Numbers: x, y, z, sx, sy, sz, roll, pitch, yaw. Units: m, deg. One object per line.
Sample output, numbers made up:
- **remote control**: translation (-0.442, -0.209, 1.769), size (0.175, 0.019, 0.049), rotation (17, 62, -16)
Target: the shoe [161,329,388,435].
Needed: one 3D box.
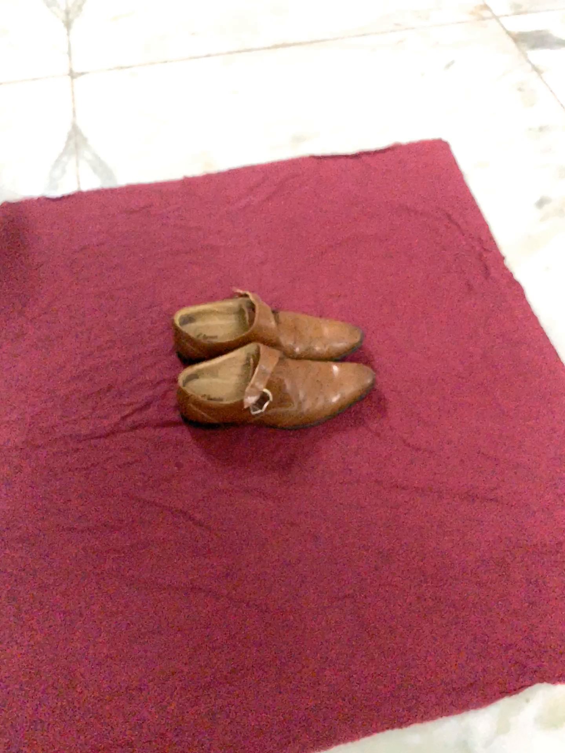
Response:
- **shoe**: translation (-0.014, 0.009, 0.837), size (0.300, 0.089, 0.101), rotation (-4, 59, -2)

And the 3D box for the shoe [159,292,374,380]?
- **shoe**: translation (-0.024, -0.062, 0.909), size (0.310, 0.089, 0.101), rotation (-1, 59, -1)
